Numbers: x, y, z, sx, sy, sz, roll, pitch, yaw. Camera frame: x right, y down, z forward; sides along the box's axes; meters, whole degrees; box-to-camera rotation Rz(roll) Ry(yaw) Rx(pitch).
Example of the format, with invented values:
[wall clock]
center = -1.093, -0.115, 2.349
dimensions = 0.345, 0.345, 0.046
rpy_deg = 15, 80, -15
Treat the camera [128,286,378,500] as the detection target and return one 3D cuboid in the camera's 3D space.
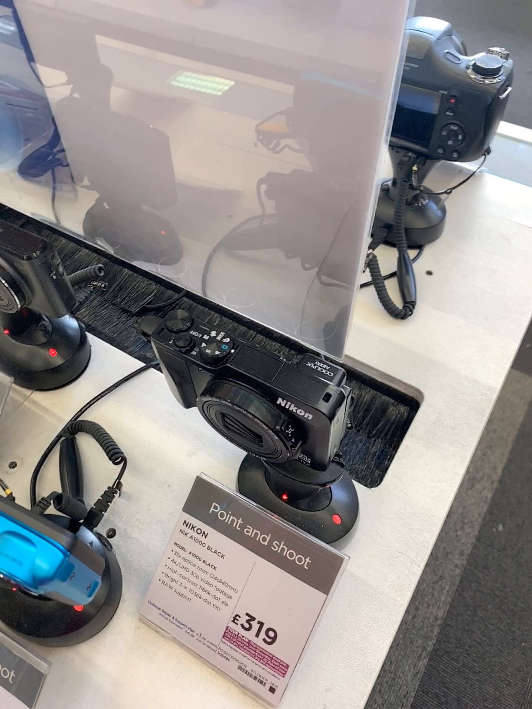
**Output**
[camera]
center = -0.008, 0.022, 0.292
dimensions = 0.120, 0.079, 0.030
rpy_deg = 25, 60, 17
